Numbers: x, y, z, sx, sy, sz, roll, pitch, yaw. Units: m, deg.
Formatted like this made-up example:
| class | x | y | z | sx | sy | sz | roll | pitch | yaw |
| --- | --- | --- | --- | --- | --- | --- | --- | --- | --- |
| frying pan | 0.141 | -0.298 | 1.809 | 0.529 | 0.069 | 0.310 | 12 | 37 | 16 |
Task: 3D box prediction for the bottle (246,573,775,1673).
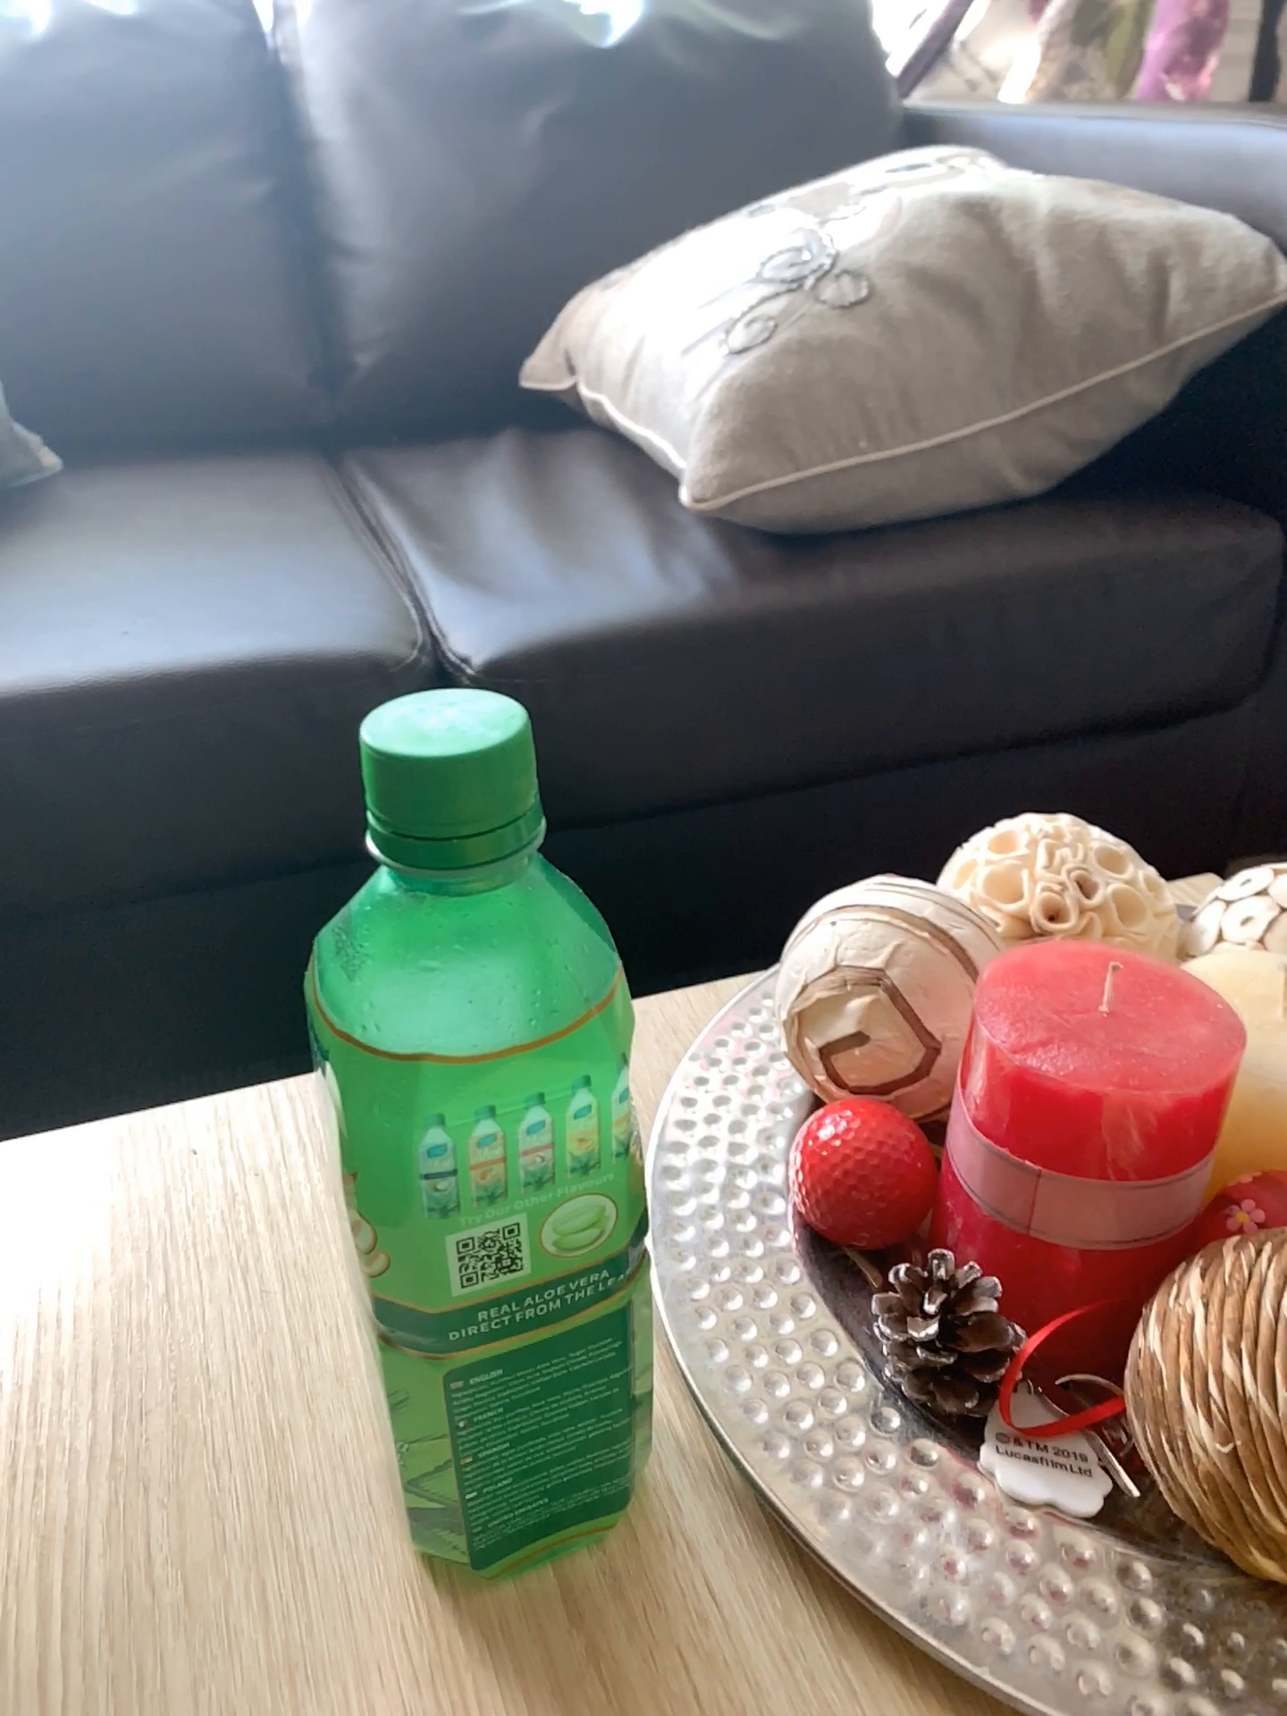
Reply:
| class | x | y | z | sx | sy | sz | roll | pitch | yaw |
| --- | --- | --- | --- | --- | --- | --- | --- | --- | --- |
| bottle | -0.026 | 0.062 | 0.277 | 0.070 | 0.218 | 0.071 | 0 | 30 | 0 |
